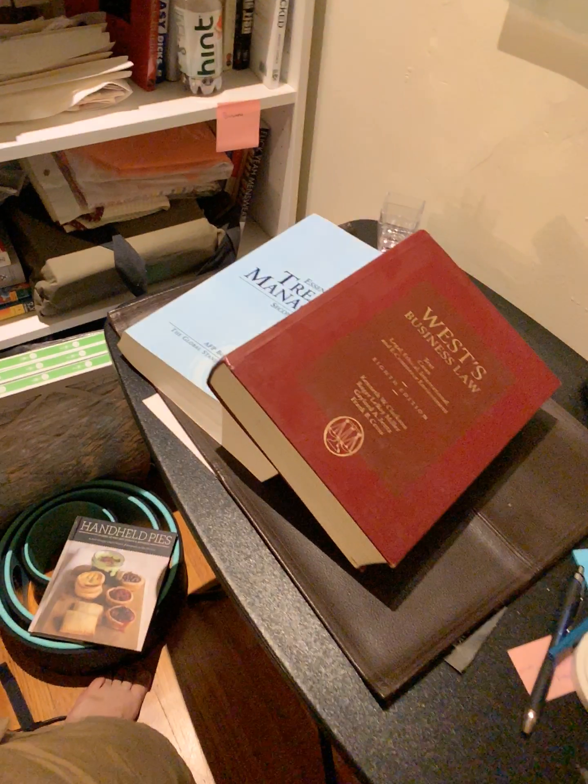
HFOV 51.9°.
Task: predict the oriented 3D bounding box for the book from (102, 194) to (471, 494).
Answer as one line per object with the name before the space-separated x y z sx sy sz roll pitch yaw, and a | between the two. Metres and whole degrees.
book | -0.003 -0.069 0.591 0.221 0.070 0.271 38 56 24

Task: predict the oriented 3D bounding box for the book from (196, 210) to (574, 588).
book | 0.091 -0.011 0.516 0.271 0.050 0.210 -37 86 -31
